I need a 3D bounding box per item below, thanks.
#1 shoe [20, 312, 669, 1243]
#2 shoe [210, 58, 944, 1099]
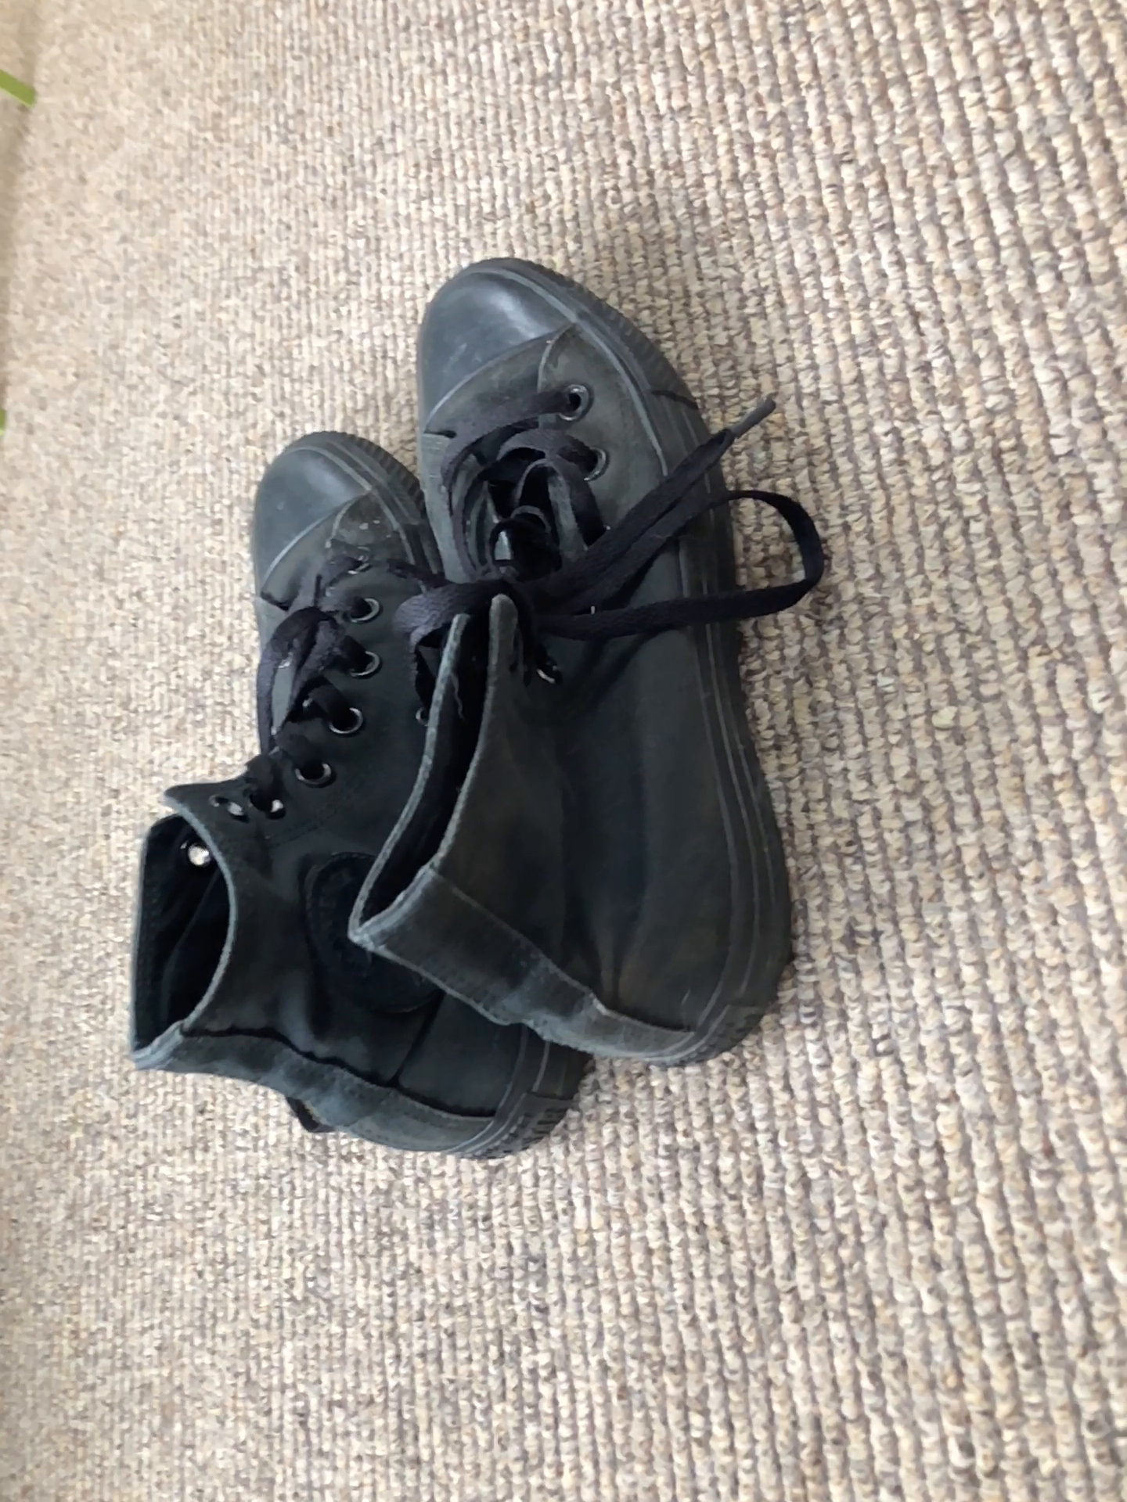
[{"bbox_3d":[-0.073,0.008,0.374,0.088,0.127,0.236,-33,59,28],"label":"shoe"},{"bbox_3d":[-0.004,-0.040,0.338,0.089,0.127,0.244,-30,60,30],"label":"shoe"}]
